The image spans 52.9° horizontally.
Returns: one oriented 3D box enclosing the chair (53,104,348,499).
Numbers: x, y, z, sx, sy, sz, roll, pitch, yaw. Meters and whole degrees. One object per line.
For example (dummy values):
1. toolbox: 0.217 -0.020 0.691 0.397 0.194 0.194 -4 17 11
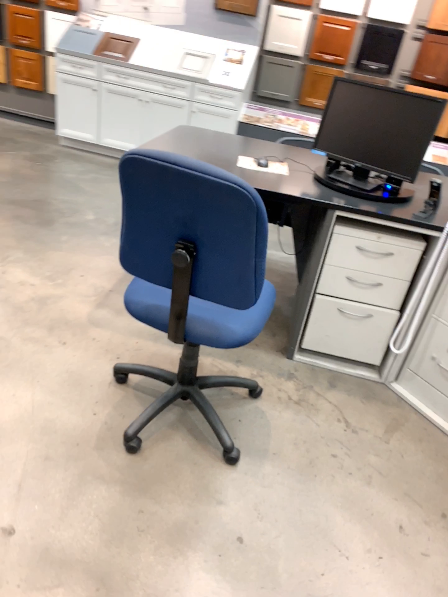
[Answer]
1. chair: -0.084 -0.034 1.577 0.658 1.036 0.695 18 31 12
